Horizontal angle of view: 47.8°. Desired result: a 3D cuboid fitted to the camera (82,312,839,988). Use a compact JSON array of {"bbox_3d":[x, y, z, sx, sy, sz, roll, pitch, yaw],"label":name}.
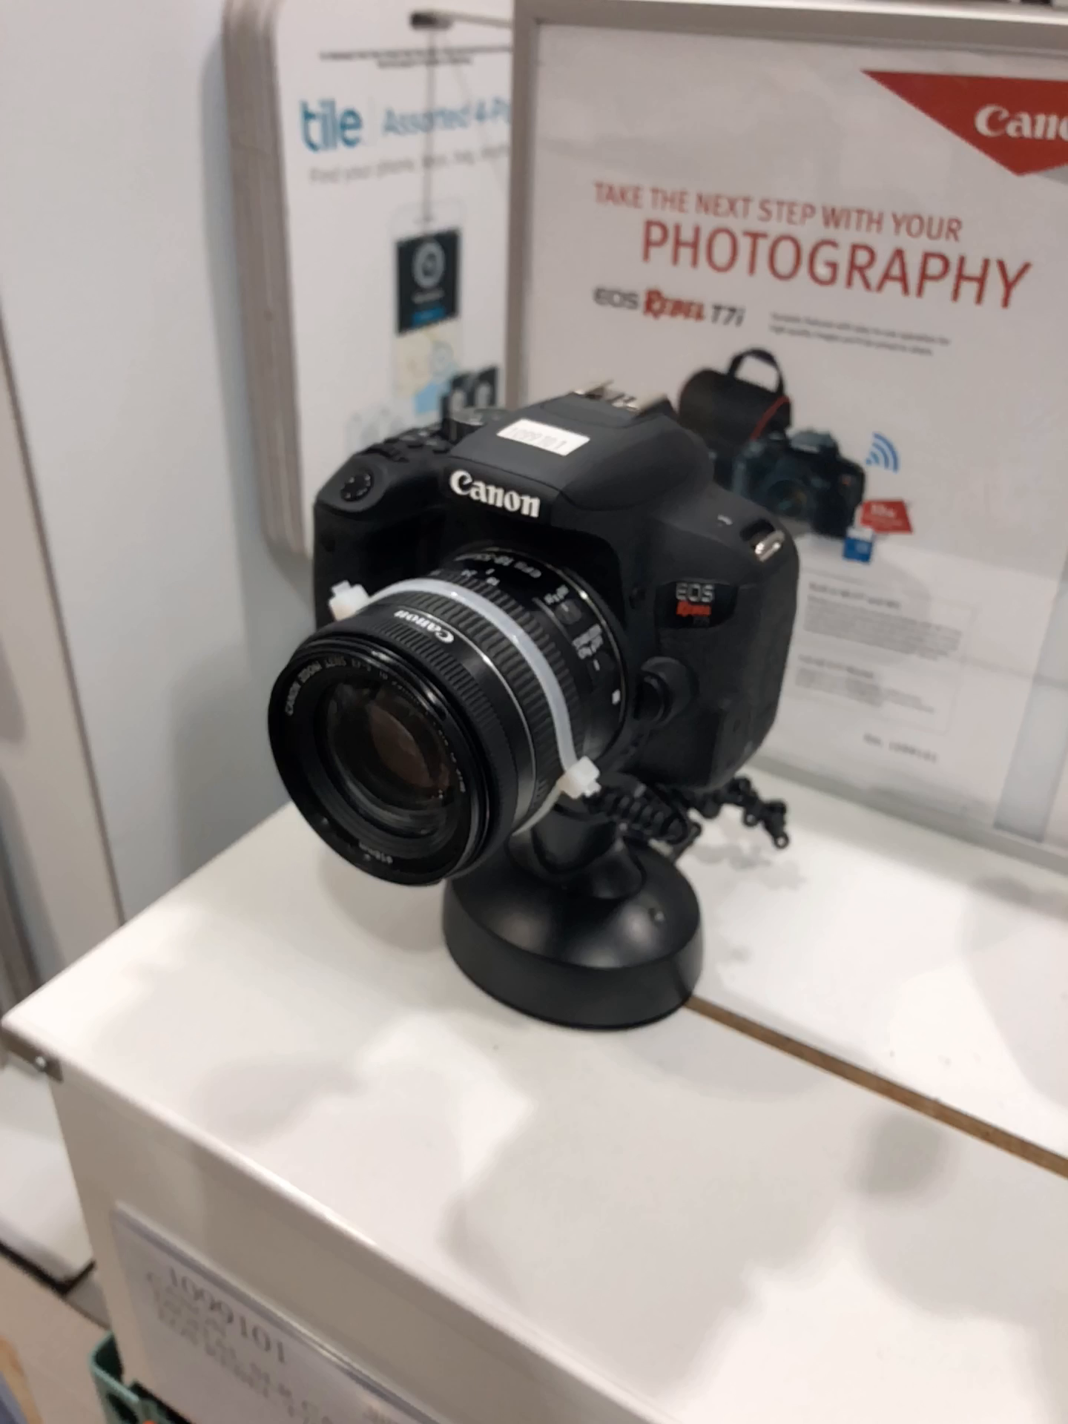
[{"bbox_3d":[-0.015,-0.029,0.307,0.130,0.100,0.120,21,36,27],"label":"camera"}]
